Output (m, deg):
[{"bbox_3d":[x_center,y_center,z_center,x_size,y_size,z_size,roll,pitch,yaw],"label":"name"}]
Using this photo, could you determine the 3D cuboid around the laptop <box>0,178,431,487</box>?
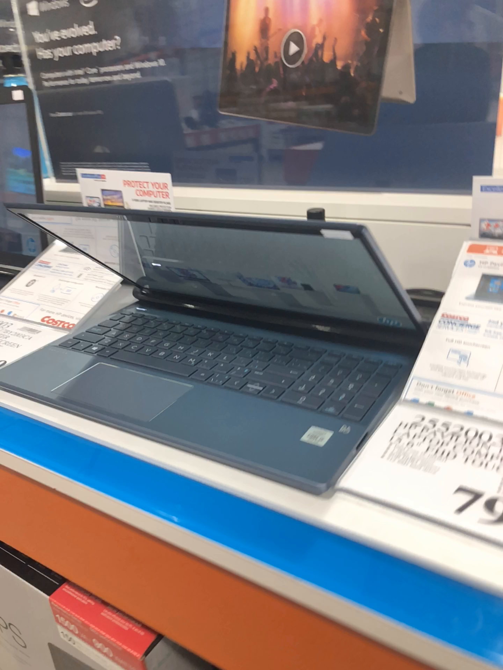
[{"bbox_3d":[-0.047,-0.042,0.493,0.347,0.149,0.218,11,29,31],"label":"laptop"}]

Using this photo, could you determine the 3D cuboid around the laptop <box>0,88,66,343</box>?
[{"bbox_3d":[-0.490,-0.186,0.738,0.343,0.227,0.288,10,29,29],"label":"laptop"}]
